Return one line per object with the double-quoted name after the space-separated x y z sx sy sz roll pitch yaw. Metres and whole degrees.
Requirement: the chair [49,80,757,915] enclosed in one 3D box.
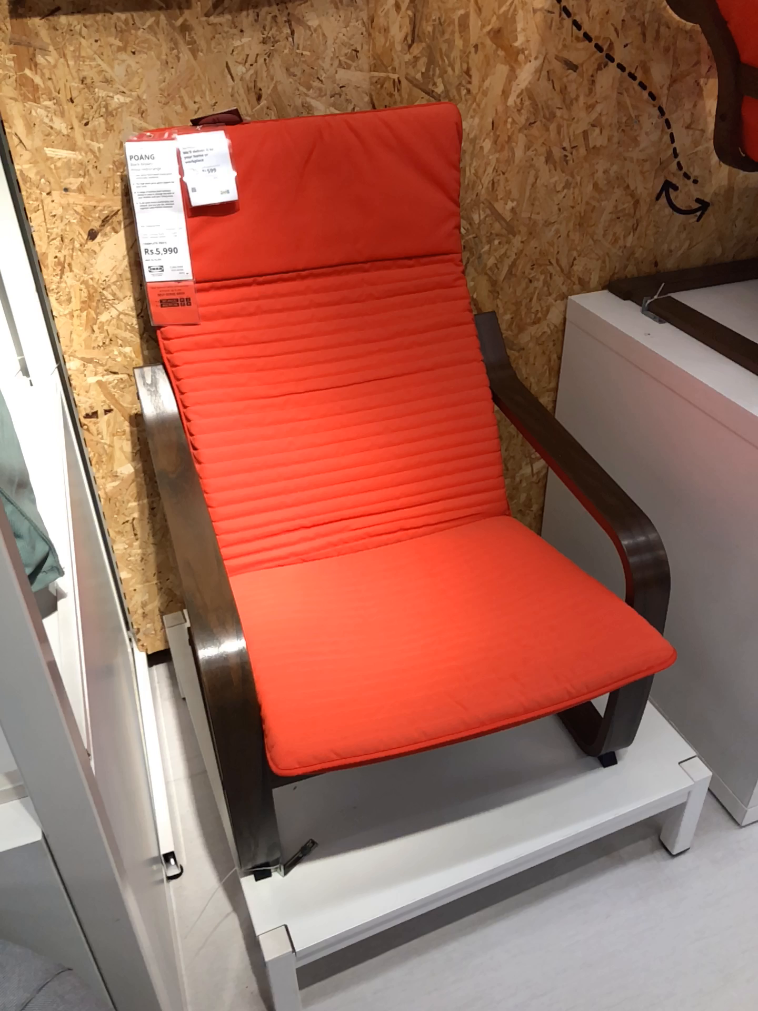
-0.007 -0.091 1.309 0.751 0.894 0.795 -12 36 -15 "chair"
